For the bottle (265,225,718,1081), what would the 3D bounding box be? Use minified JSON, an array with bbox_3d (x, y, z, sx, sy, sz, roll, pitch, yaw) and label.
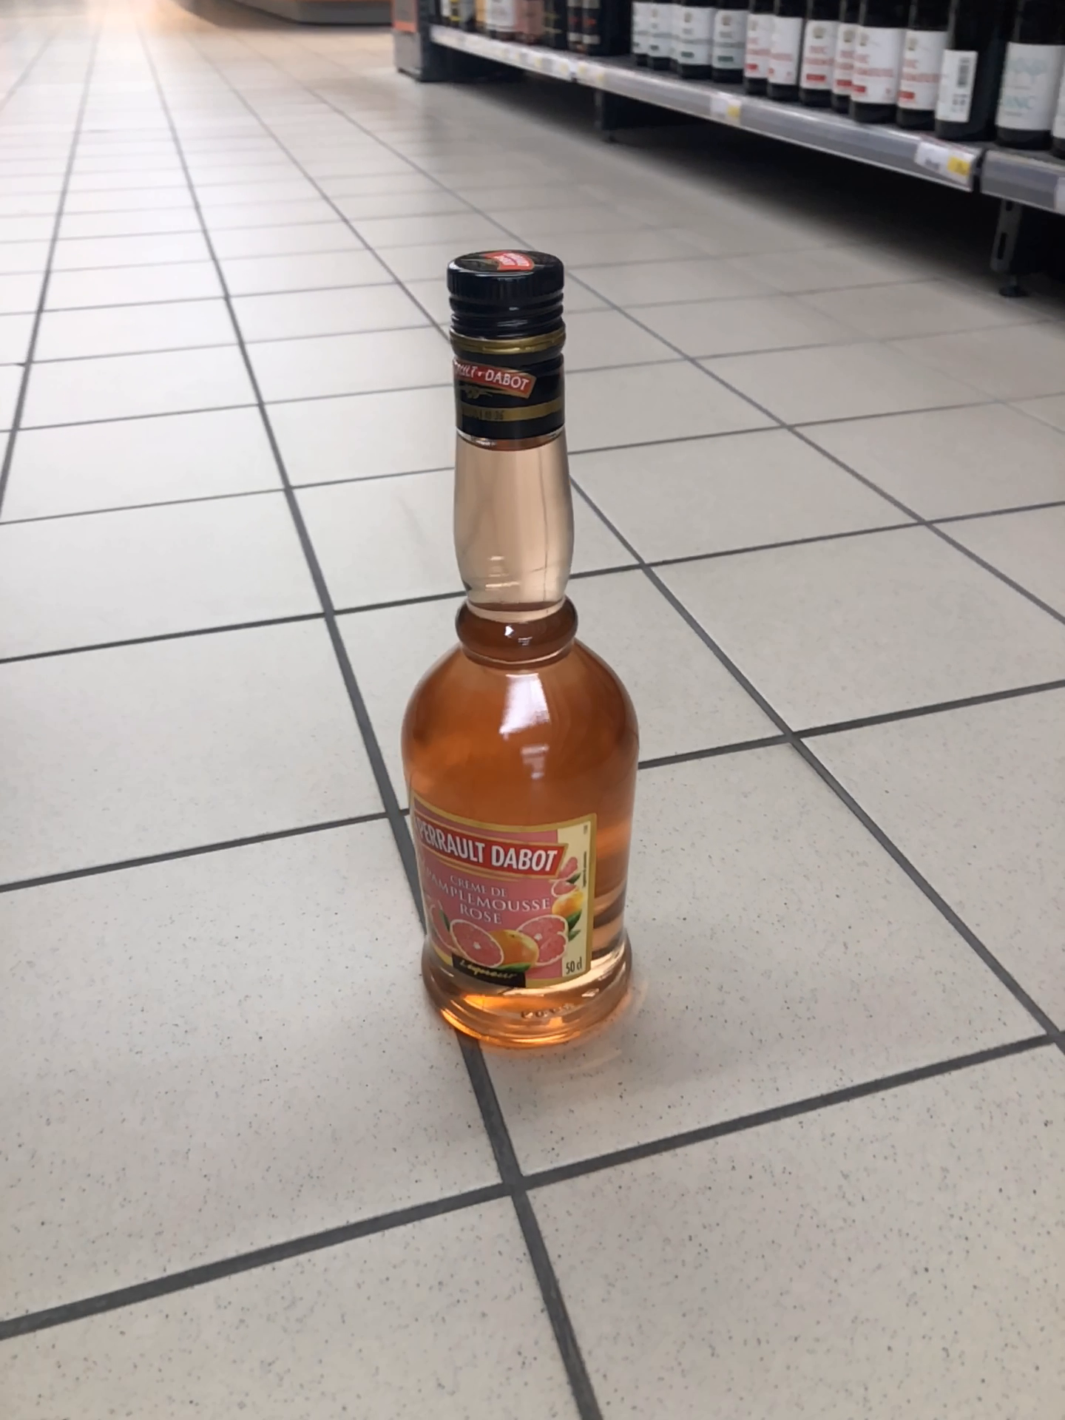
[{"bbox_3d":[-0.005,-0.012,0.359,0.090,0.239,0.081,11,33,19],"label":"bottle"}]
